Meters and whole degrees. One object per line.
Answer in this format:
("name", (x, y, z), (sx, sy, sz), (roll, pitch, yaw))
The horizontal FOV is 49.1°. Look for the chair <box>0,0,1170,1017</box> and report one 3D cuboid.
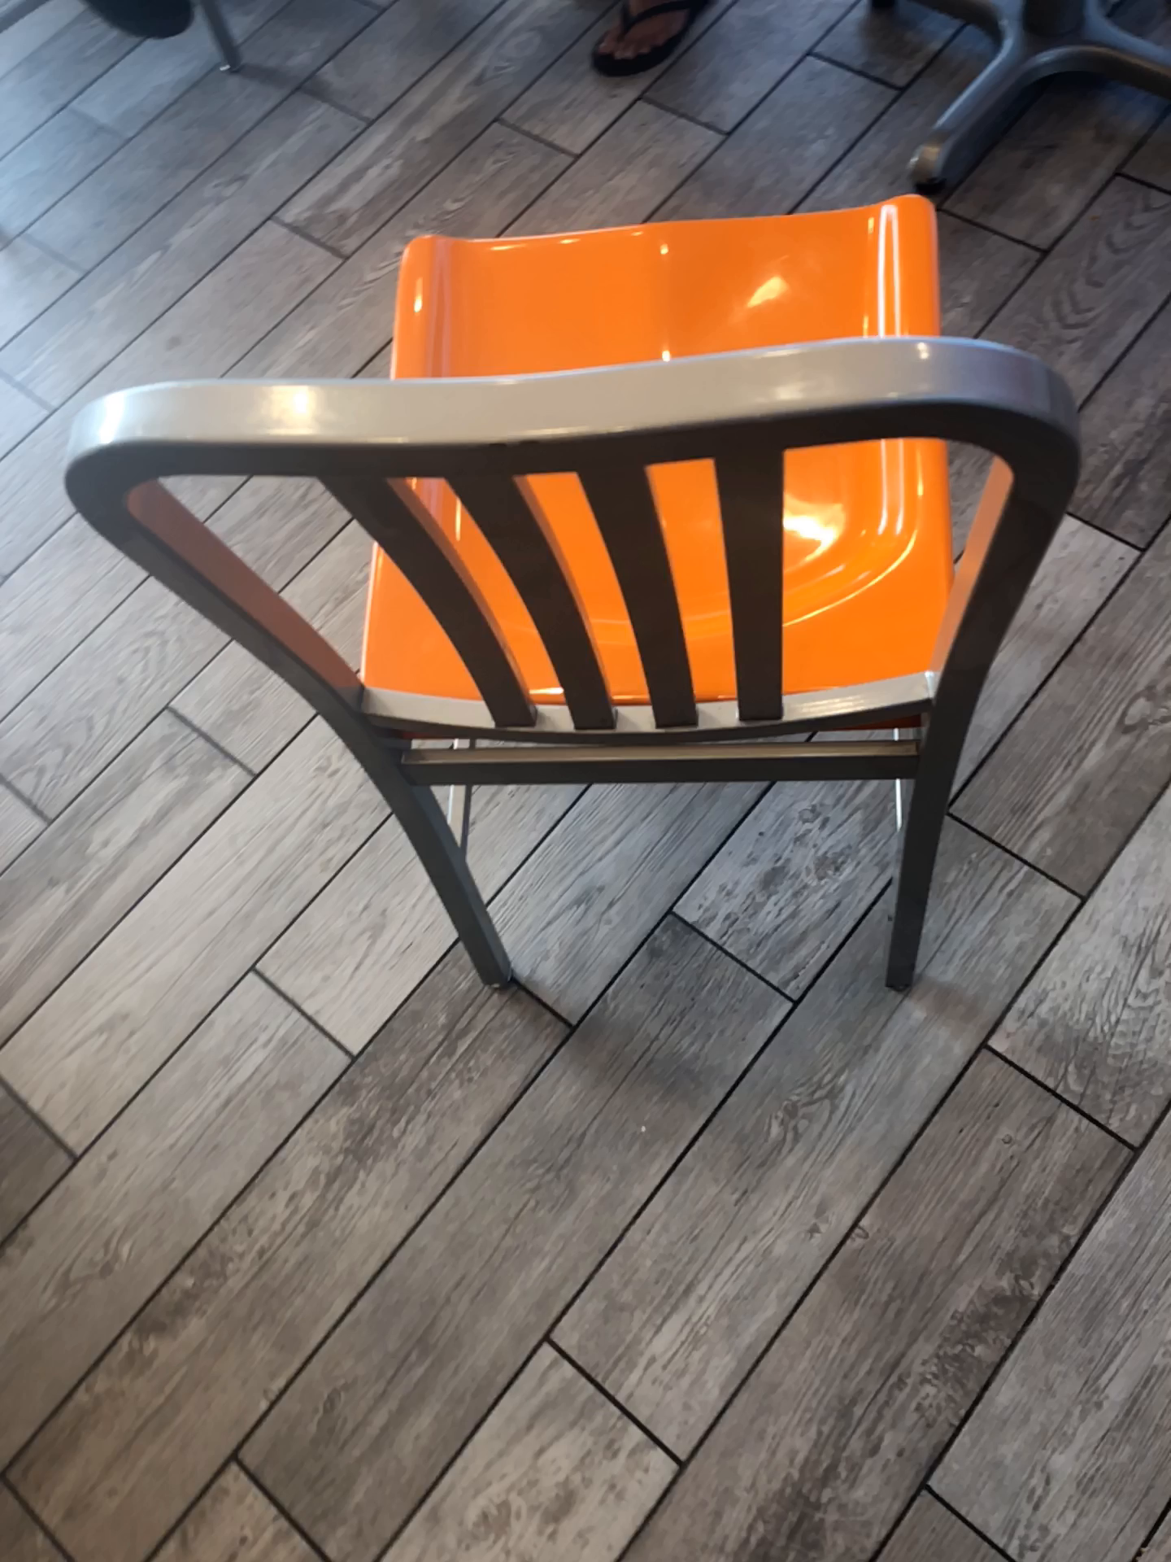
("chair", (0.015, -0.204, 0.846), (0.470, 0.819, 0.510), (-1, 65, 9))
